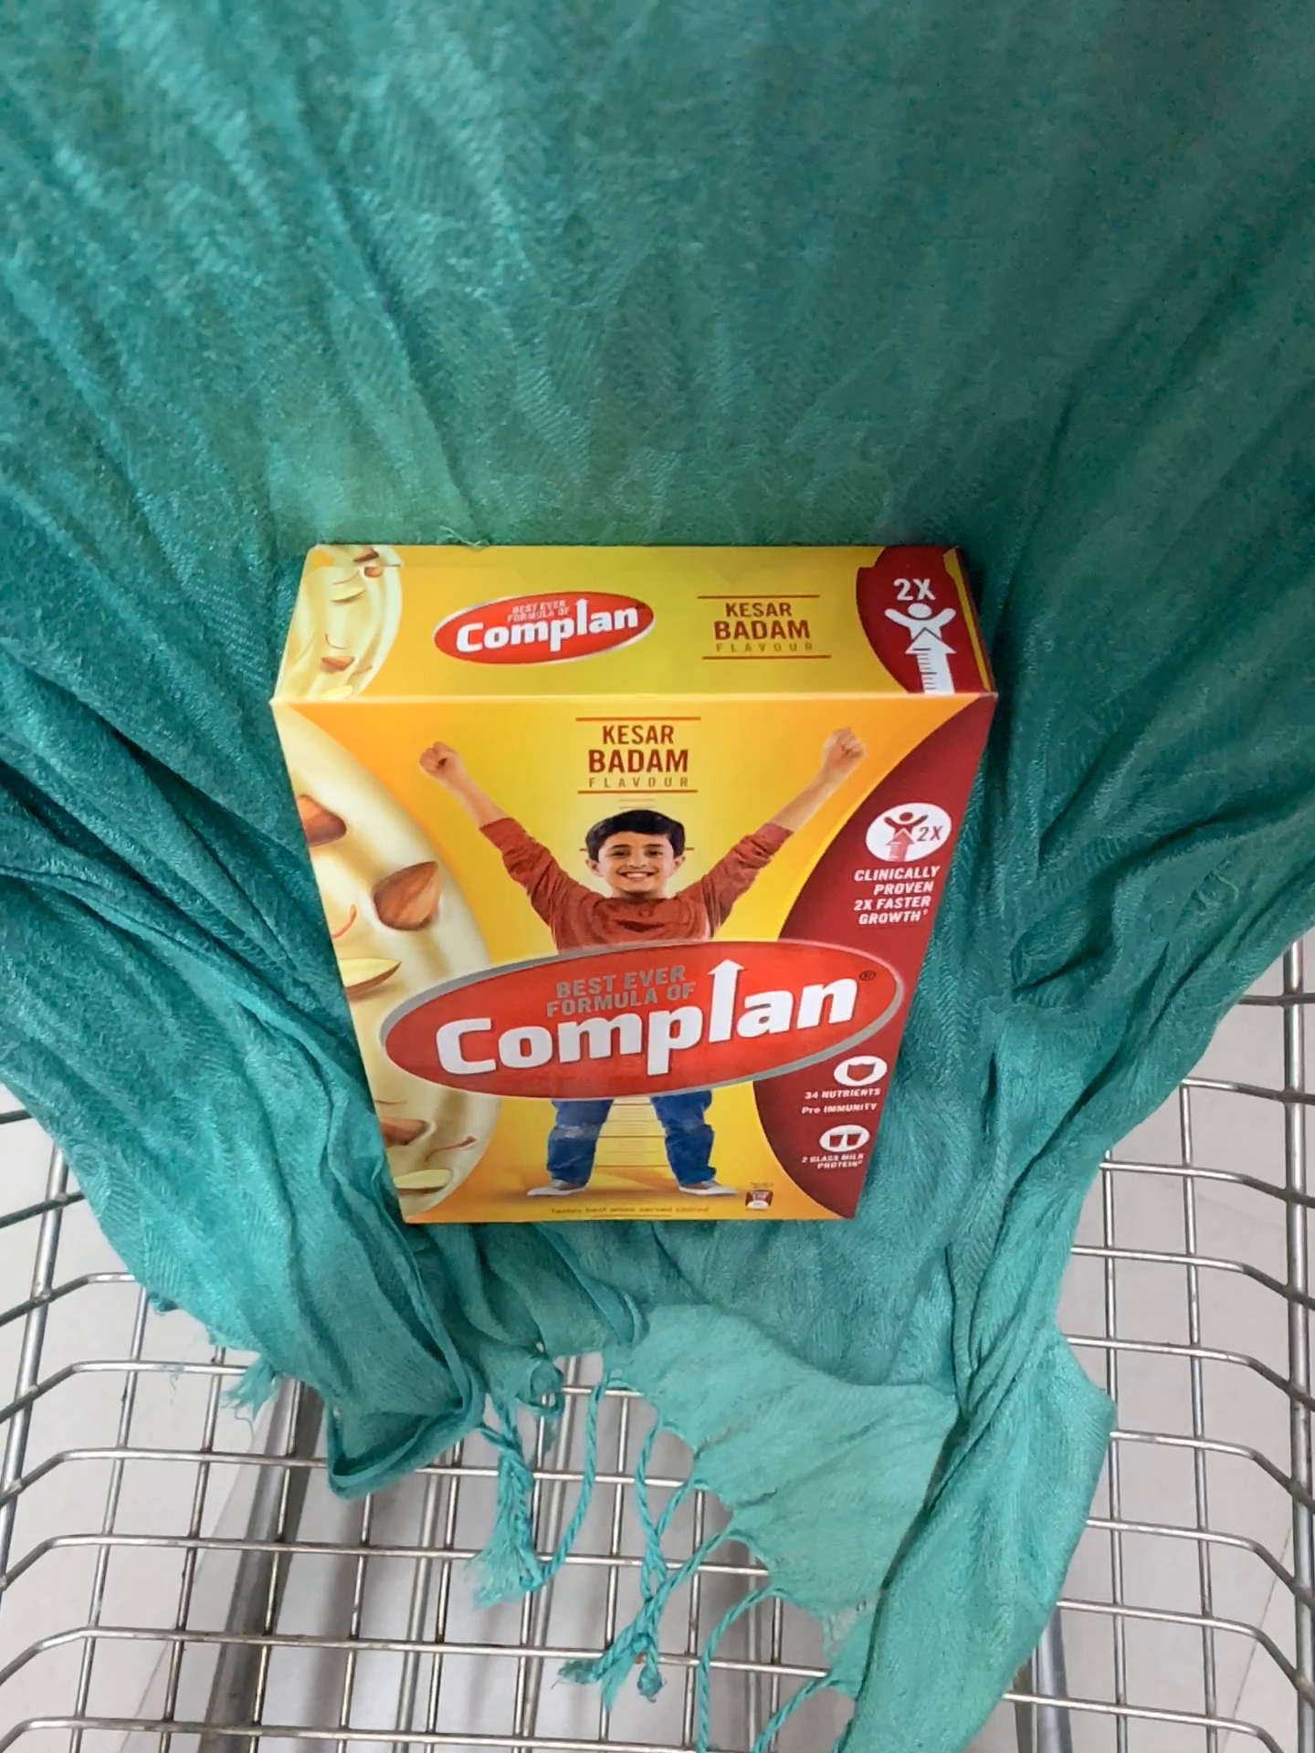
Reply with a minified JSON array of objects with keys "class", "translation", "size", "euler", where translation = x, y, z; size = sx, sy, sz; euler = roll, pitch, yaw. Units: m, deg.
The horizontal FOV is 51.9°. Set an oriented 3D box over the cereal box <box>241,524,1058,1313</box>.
[{"class":"cereal box","translation":[-0.001,0.023,0.320],"size":[0.140,0.200,0.060],"euler":[0,42,1]}]
